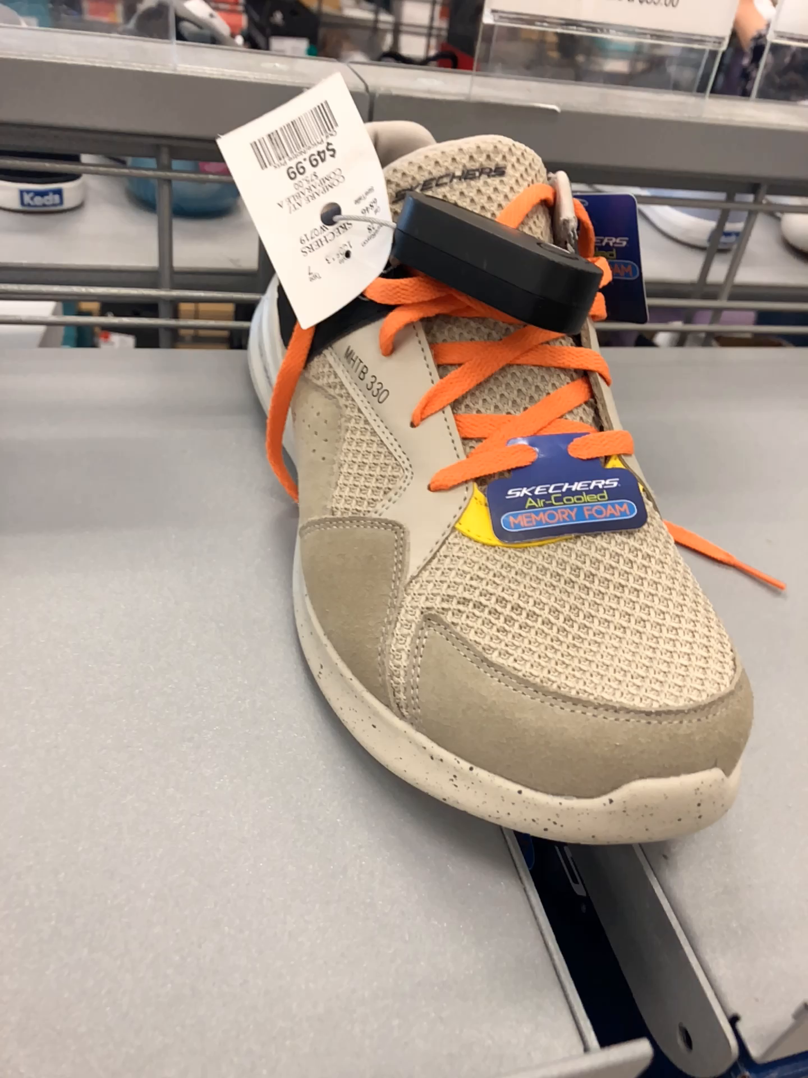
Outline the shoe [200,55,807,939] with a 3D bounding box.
[{"bbox_3d":[0.021,-0.049,0.286,0.125,0.109,0.282,-6,43,-20],"label":"shoe"}]
